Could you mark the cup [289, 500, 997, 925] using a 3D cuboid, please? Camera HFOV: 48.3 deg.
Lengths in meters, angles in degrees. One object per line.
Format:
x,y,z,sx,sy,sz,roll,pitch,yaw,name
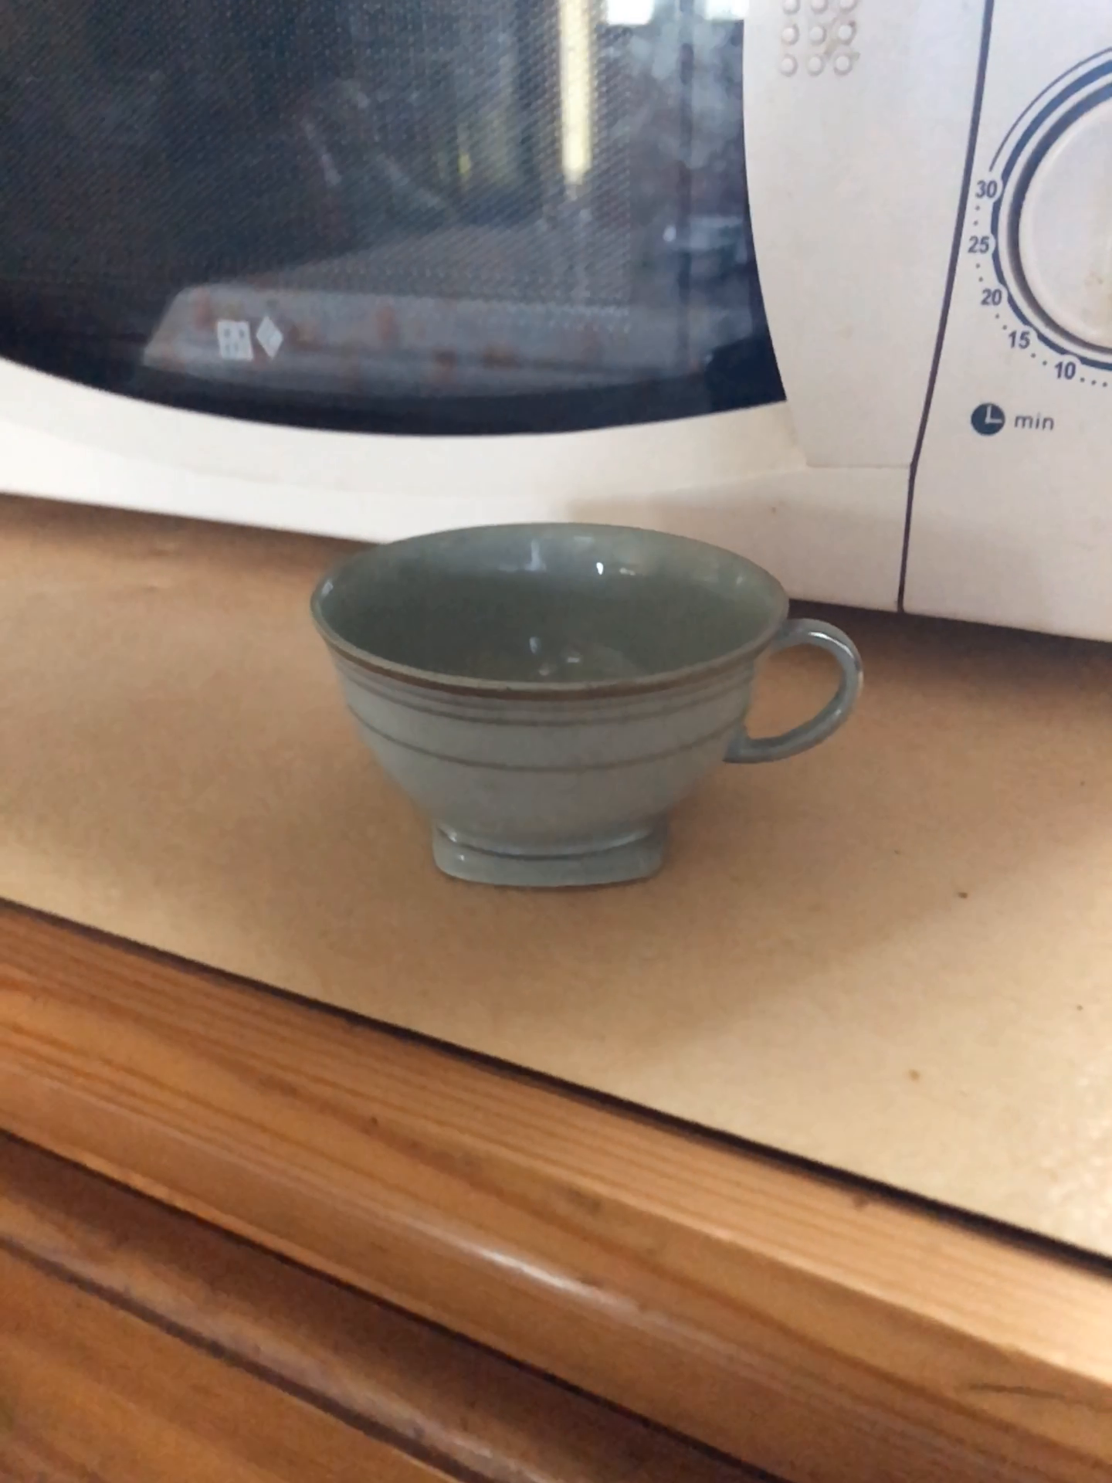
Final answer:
0.011,-0.010,0.219,0.100,0.040,0.080,-2,27,-2,cup
